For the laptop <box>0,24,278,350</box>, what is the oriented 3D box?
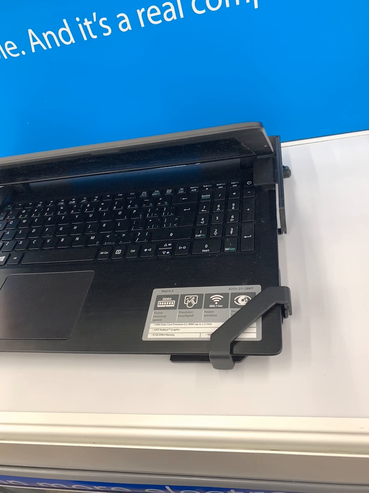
[{"bbox_3d":[-0.108,-0.046,0.350,0.364,0.137,0.222,-3,50,14],"label":"laptop"}]
